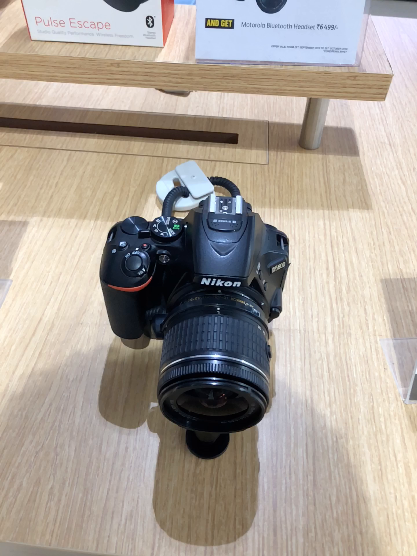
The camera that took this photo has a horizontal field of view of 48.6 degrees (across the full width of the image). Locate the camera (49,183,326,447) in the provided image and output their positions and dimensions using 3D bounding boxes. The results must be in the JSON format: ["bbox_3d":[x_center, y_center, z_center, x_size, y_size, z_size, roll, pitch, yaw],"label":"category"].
[{"bbox_3d":[-0.007,0.016,0.269,0.120,0.070,0.131,4,48,1],"label":"camera"}]
